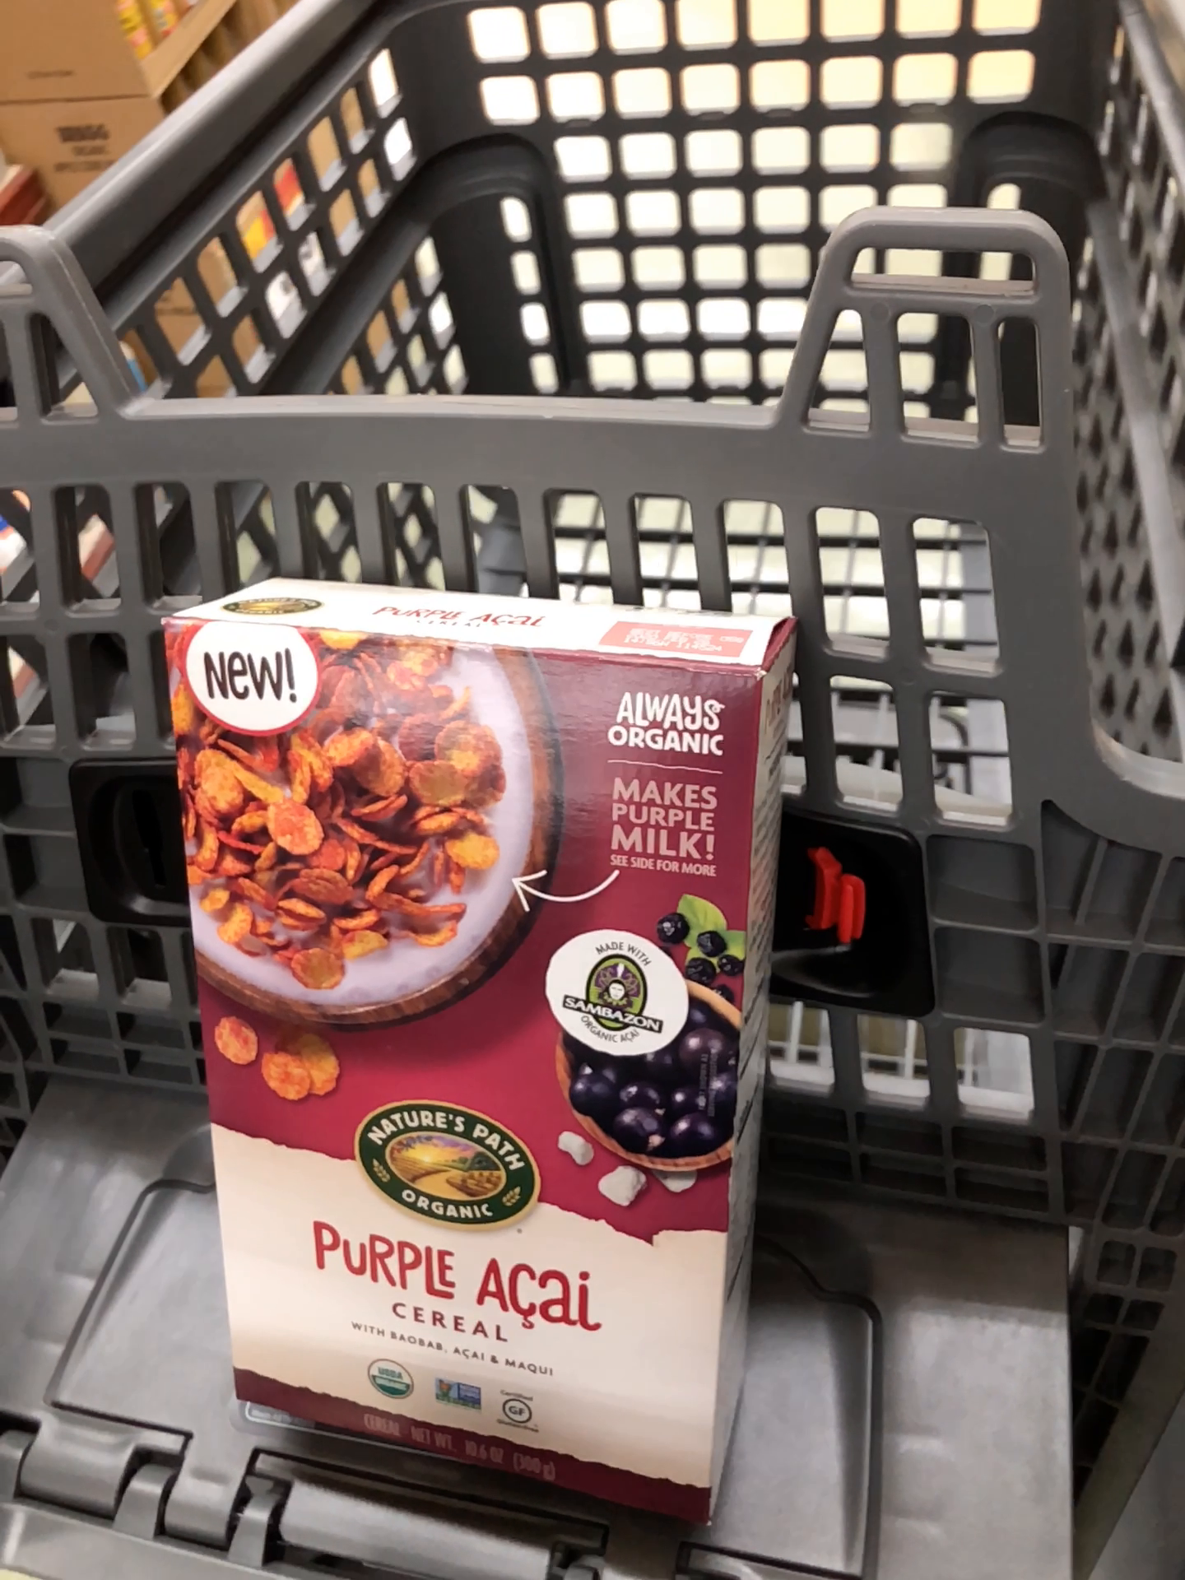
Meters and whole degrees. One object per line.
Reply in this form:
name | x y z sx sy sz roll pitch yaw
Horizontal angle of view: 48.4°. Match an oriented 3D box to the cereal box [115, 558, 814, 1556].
cereal box | -0.034 0.077 0.393 0.170 0.270 0.070 7 20 14
